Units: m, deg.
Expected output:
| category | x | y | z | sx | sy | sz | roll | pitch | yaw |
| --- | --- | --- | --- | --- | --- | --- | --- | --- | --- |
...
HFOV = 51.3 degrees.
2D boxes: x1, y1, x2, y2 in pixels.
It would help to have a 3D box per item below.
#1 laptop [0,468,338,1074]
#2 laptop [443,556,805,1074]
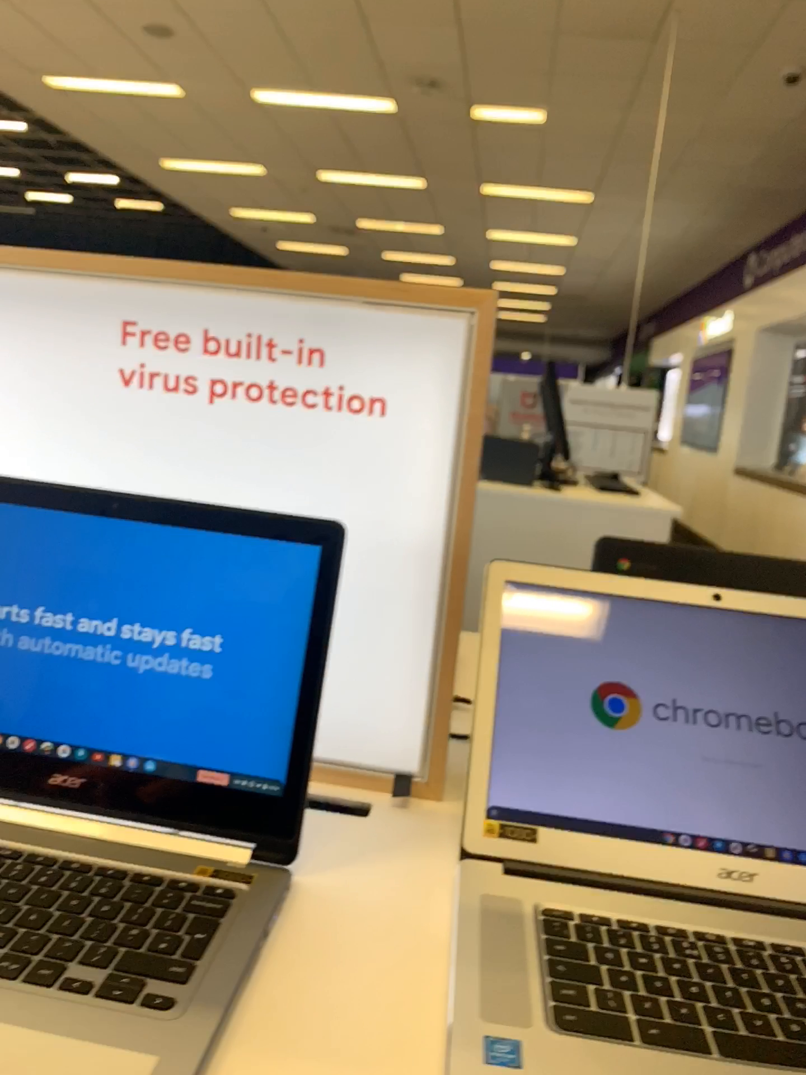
| category | x | y | z | sx | sy | sz | roll | pitch | yaw |
| --- | --- | --- | --- | --- | --- | --- | --- | --- | --- |
| laptop | -0.224 | 0.099 | 0.455 | 0.307 | 0.217 | 0.278 | 7 | 9 | 5 |
| laptop | 0.231 | 0.158 | 0.503 | 0.375 | 0.175 | 0.426 | 7 | 10 | 4 |
